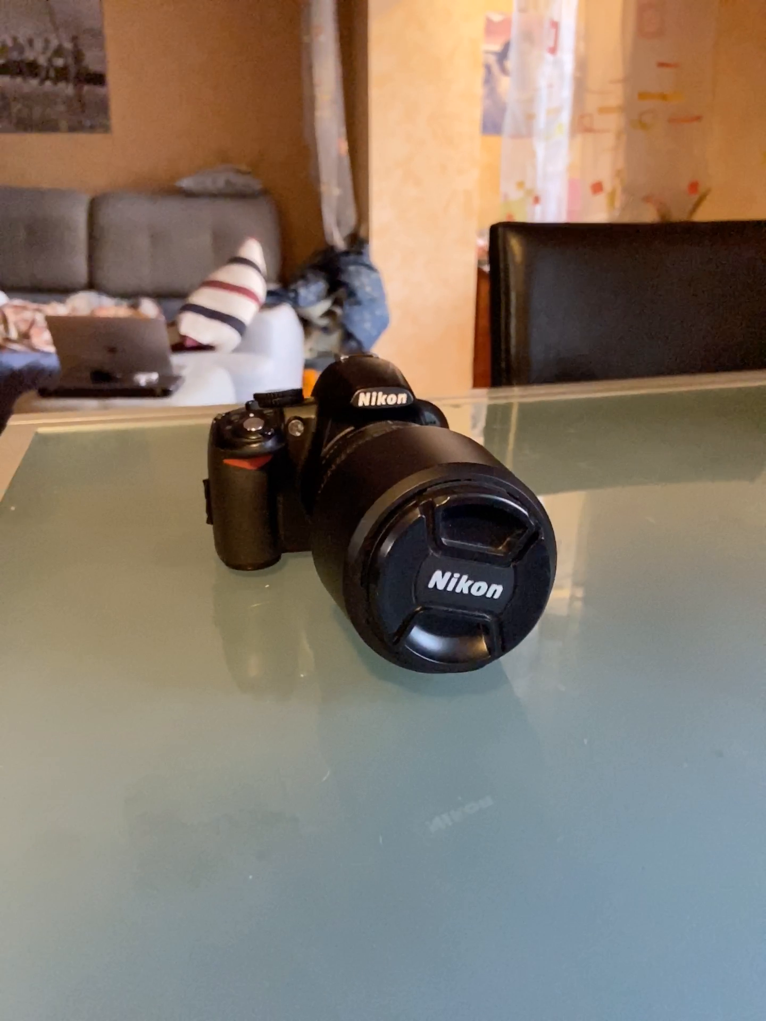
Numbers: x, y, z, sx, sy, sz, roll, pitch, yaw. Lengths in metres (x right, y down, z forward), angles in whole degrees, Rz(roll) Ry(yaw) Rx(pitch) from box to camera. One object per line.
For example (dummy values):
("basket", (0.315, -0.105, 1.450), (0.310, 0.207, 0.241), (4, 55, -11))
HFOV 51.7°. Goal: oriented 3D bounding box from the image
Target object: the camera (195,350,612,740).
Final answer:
("camera", (-0.010, -0.006, 0.340), (0.124, 0.094, 0.189), (-5, 20, -14))
